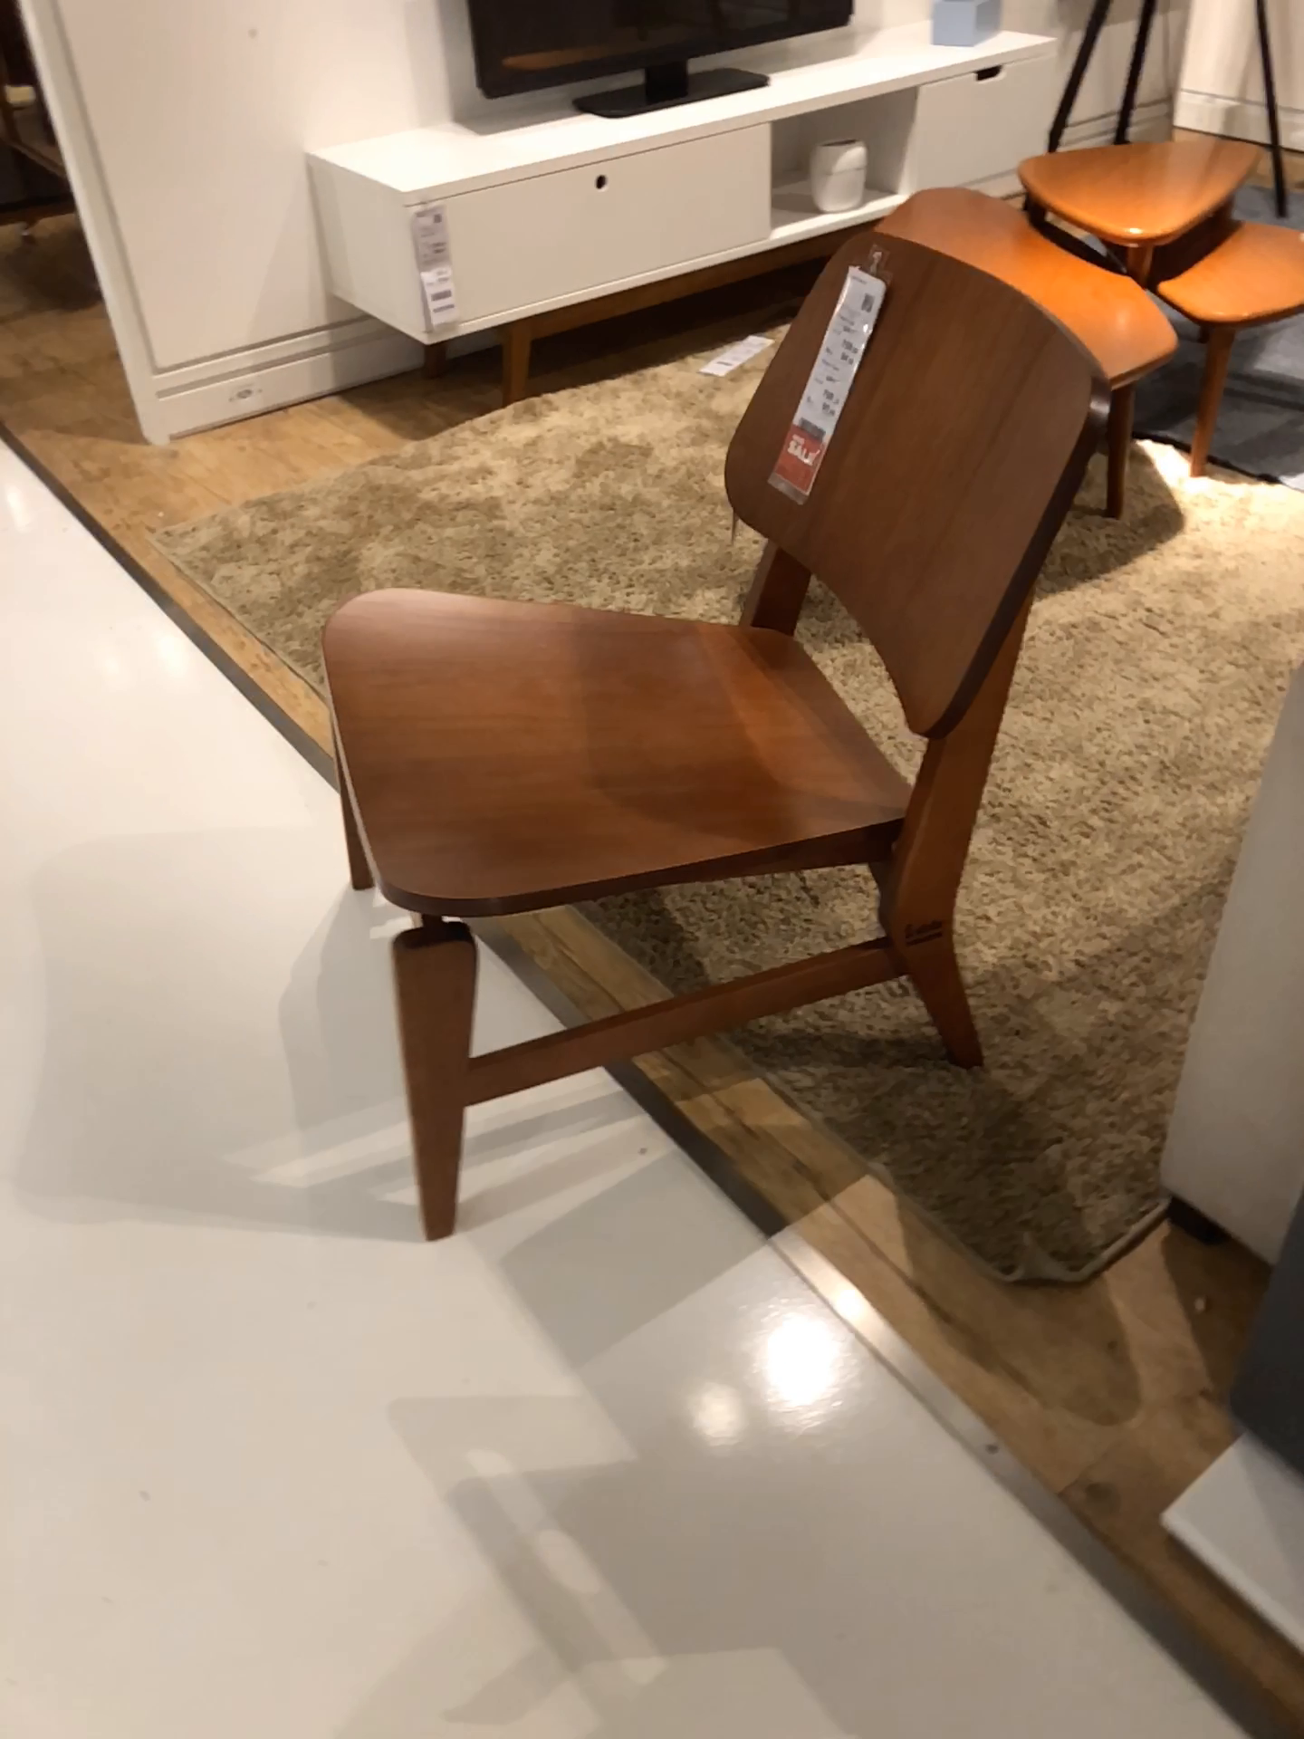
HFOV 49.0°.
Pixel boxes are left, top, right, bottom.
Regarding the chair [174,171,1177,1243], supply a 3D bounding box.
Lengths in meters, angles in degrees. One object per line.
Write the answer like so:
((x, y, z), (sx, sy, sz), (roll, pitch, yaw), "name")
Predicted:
((-0.021, -0.174, 1.302), (0.630, 0.655, 0.584), (-13, 40, -10), "chair")
